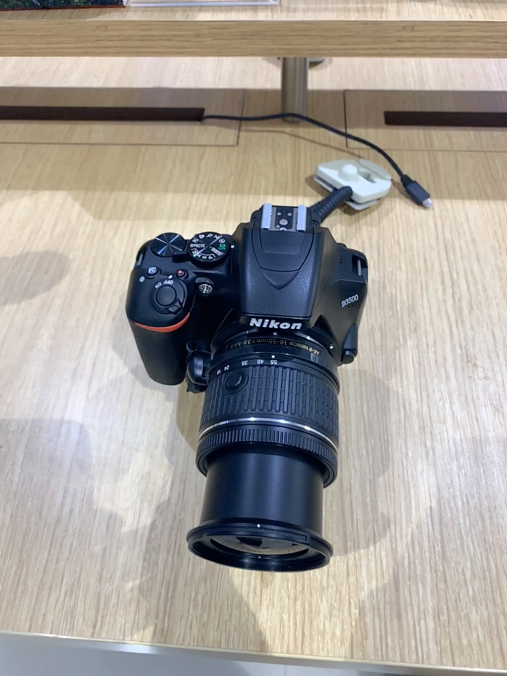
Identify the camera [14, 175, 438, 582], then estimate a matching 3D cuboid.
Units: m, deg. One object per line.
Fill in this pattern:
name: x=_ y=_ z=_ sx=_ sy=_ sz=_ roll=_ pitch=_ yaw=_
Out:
camera: x=-0.003 y=0.017 z=0.222 sx=0.115 sy=0.100 sz=0.136 roll=2 pitch=55 yaw=3
